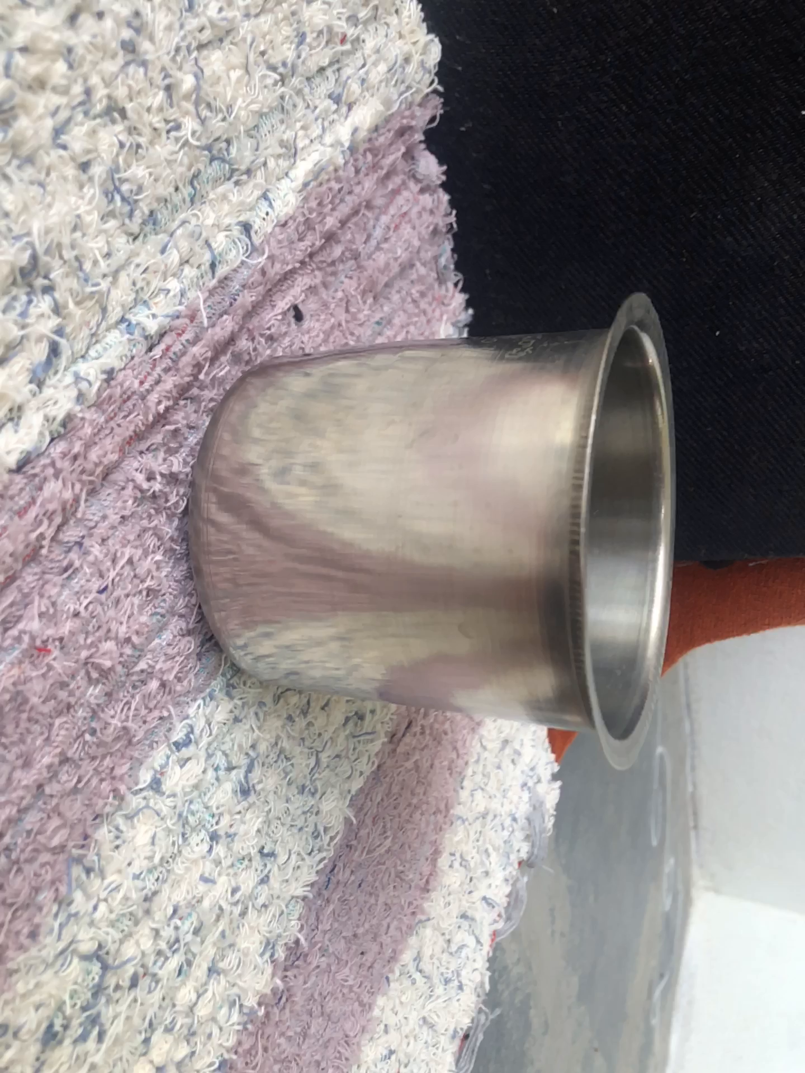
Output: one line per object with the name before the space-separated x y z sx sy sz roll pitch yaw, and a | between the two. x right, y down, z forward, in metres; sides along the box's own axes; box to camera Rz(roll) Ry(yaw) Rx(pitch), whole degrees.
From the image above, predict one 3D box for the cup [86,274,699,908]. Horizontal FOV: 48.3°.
cup | 0.012 0.003 0.216 0.100 0.099 0.100 5 90 -66
